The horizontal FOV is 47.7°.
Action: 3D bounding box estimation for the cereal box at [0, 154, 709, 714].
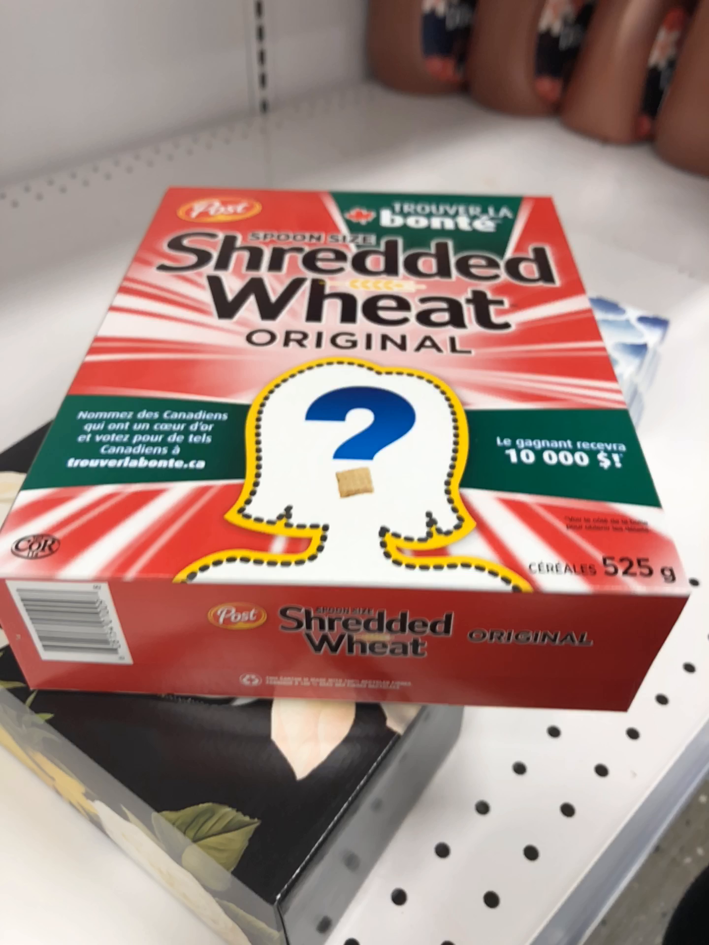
[{"bbox_3d":[-0.006,-0.047,0.328,0.230,0.060,0.281,1,42,2],"label":"cereal box"}]
